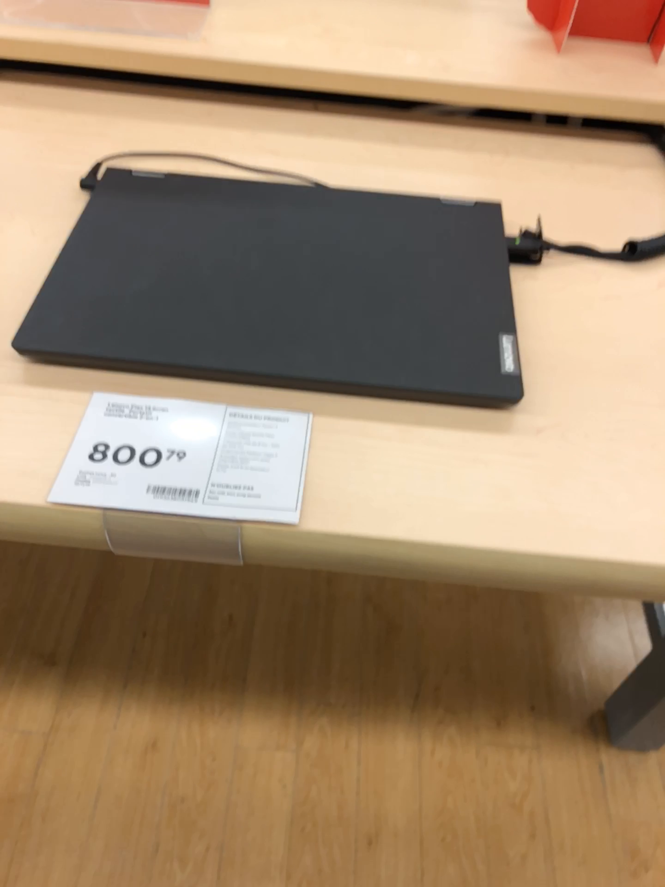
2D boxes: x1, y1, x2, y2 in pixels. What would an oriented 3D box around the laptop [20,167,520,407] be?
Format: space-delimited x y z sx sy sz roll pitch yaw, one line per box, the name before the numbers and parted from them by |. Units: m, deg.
laptop | -0.030 -0.126 0.549 0.326 0.009 0.212 6 52 -1
